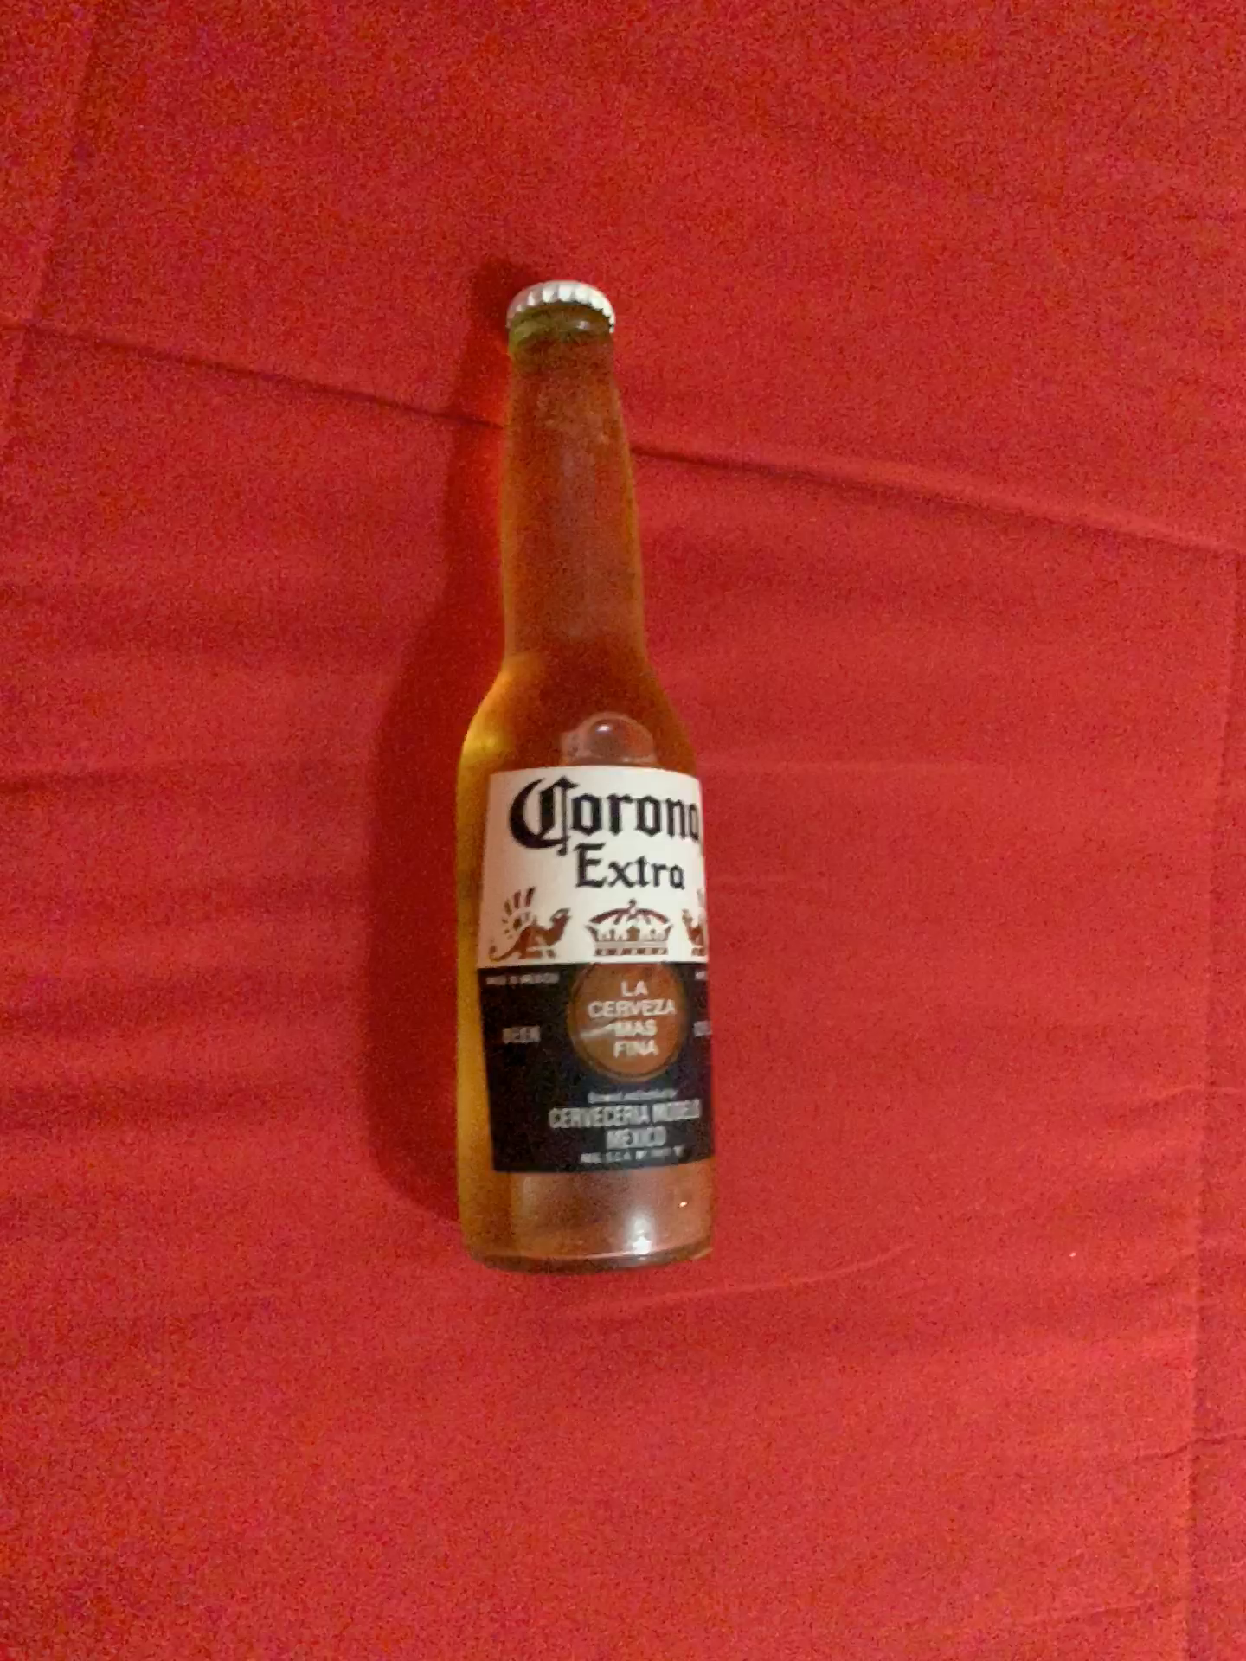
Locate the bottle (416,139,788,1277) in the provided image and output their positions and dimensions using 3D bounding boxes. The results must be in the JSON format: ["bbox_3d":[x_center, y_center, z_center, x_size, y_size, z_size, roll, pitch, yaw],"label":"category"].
[{"bbox_3d":[-0.010,-0.028,0.322,0.070,0.070,0.250,0,85,-20],"label":"bottle"}]
